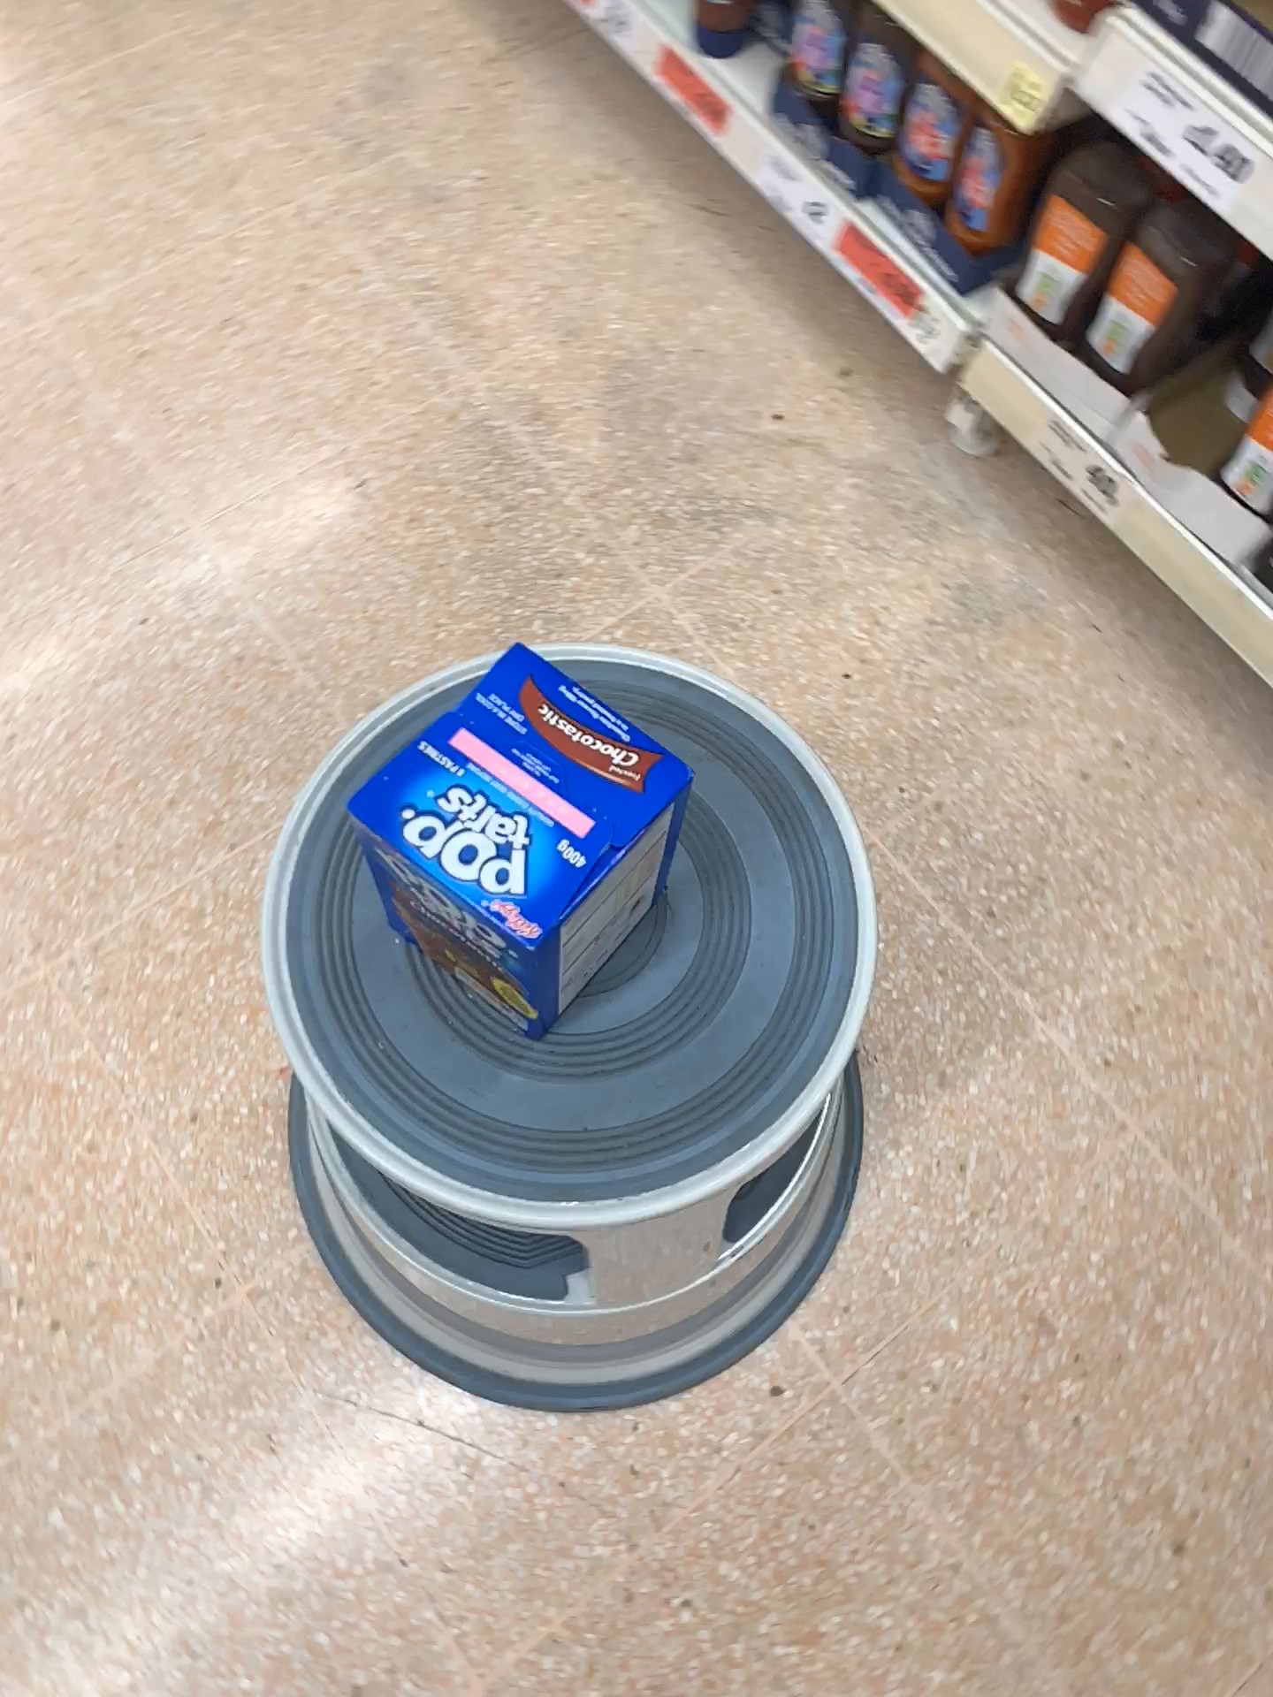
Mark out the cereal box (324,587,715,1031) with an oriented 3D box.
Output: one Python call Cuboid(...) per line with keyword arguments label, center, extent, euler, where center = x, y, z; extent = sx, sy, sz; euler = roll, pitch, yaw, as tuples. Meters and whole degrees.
Cuboid(label="cereal box", center=(-0.045, -0.010, 0.556), extent=(0.100, 0.139, 0.110), euler=(38, 73, 12))
